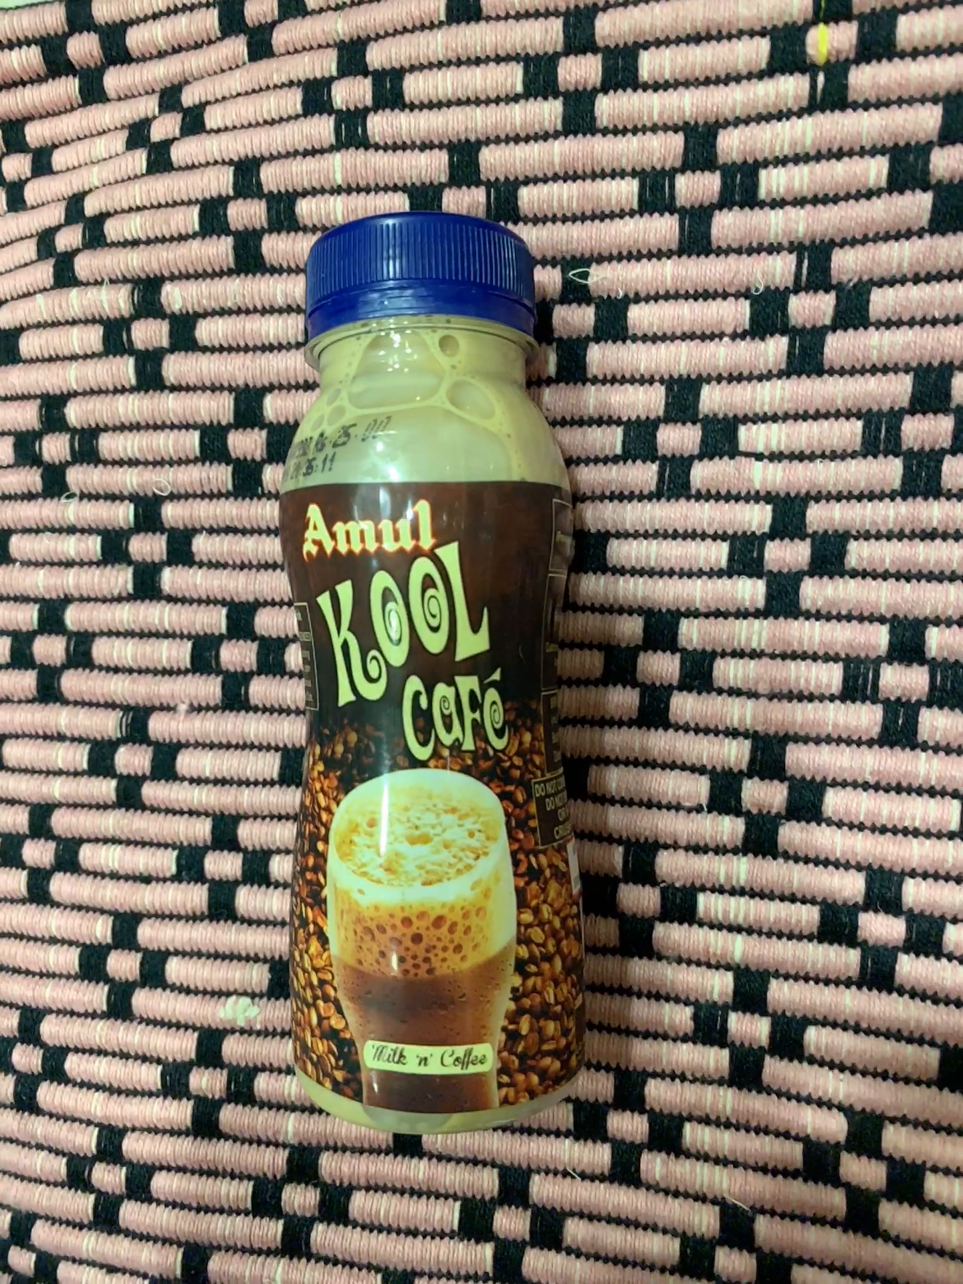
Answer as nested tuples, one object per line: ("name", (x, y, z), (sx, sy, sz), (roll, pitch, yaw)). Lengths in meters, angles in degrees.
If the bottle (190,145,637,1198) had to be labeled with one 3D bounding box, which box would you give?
("bottle", (-0.008, 0.004, 0.163), (0.060, 0.050, 0.140), (-2, 86, 11))
